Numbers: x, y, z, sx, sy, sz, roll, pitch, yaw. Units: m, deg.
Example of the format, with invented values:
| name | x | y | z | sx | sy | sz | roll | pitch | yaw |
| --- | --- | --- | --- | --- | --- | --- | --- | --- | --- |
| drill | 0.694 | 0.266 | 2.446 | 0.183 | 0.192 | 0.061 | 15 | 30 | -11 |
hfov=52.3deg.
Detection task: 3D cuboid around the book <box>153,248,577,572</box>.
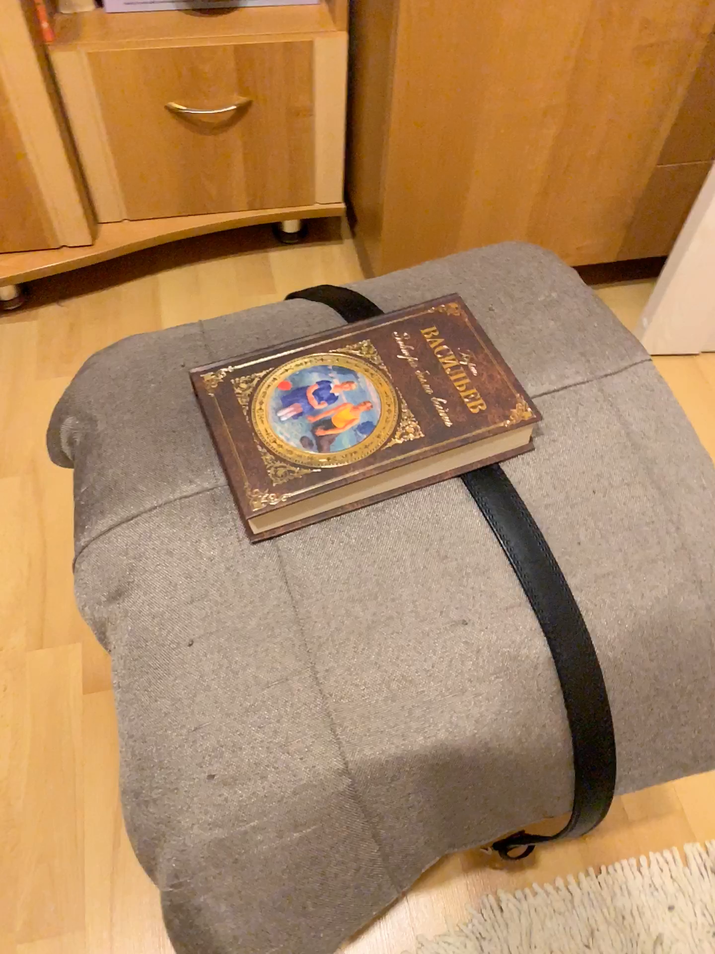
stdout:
| name | x | y | z | sx | sy | sz | roll | pitch | yaw |
| --- | --- | --- | --- | --- | --- | --- | --- | --- | --- |
| book | 0.001 | -0.050 | 0.462 | 0.220 | 0.050 | 0.141 | -21 | 59 | -9 |
